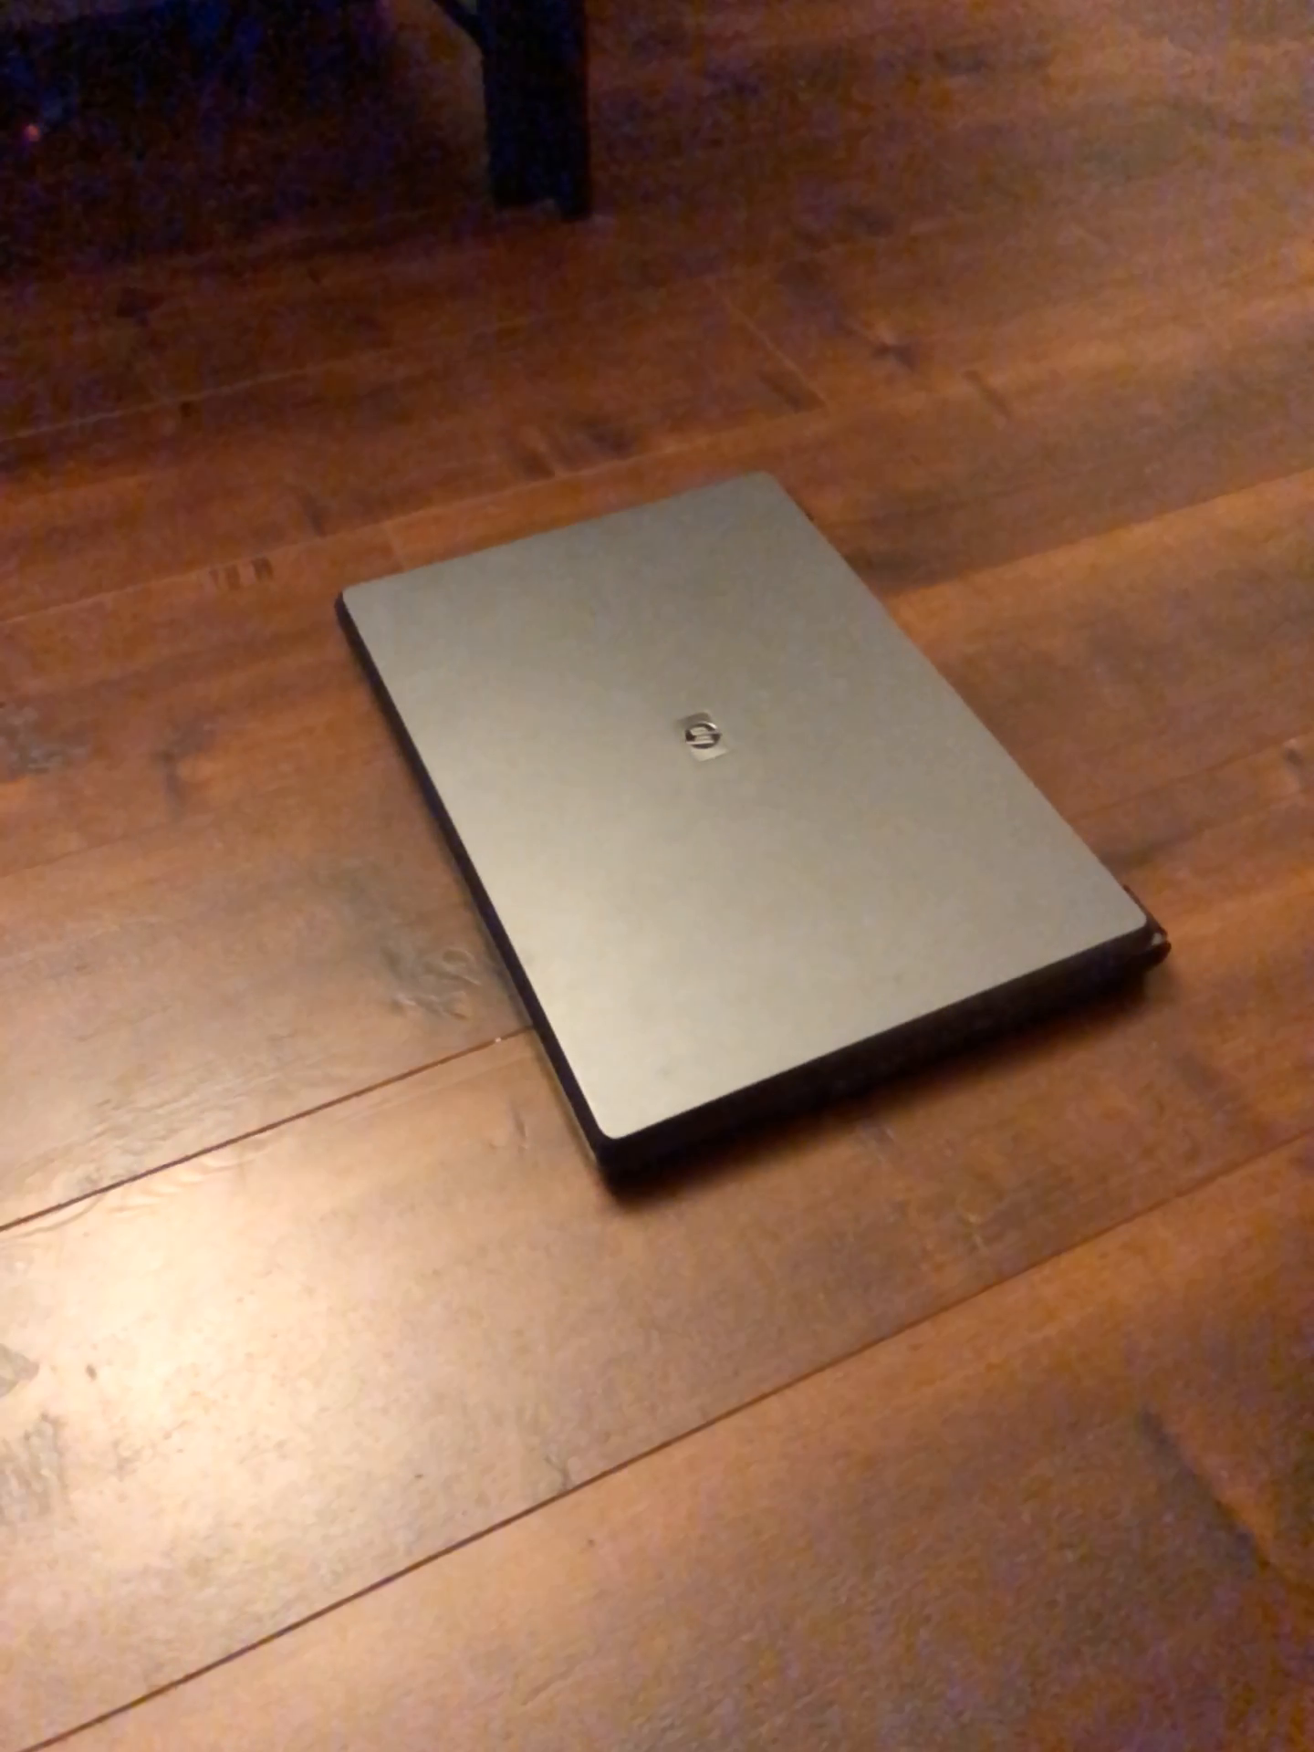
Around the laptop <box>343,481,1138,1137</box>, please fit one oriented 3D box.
[{"bbox_3d":[0.018,-0.055,0.610,0.216,0.005,0.311,-20,53,-15],"label":"laptop"}]
